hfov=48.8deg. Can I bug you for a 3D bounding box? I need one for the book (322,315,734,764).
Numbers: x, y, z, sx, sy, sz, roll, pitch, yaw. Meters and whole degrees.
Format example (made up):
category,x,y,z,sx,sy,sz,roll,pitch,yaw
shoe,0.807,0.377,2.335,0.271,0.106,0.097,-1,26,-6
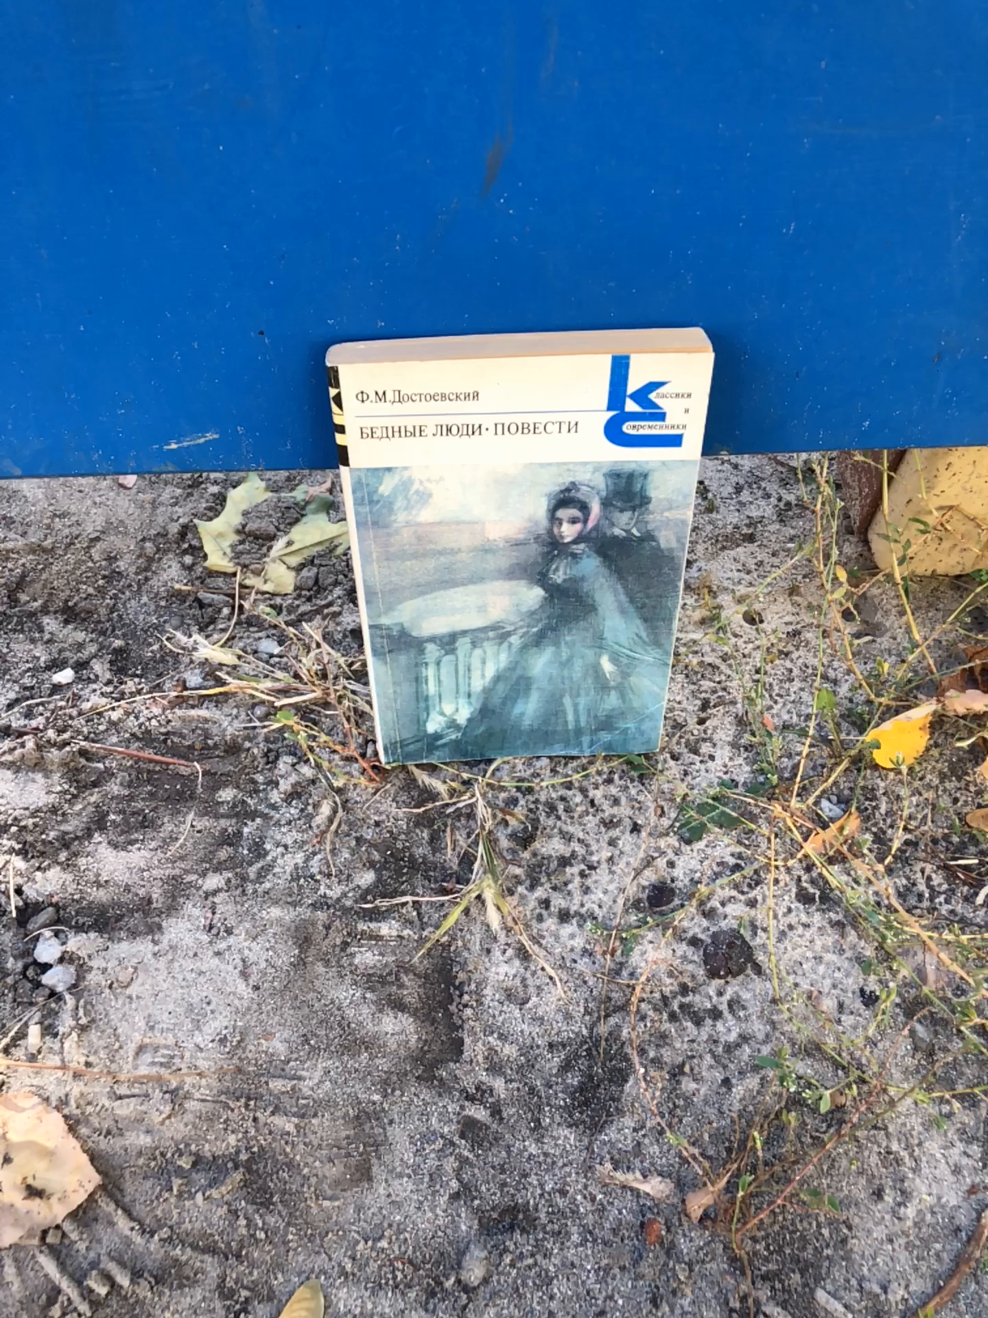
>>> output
category,x,y,z,sx,sy,sz,roll,pitch,yaw
book,0.011,-0.034,0.410,0.127,0.187,0.026,-3,45,-2
